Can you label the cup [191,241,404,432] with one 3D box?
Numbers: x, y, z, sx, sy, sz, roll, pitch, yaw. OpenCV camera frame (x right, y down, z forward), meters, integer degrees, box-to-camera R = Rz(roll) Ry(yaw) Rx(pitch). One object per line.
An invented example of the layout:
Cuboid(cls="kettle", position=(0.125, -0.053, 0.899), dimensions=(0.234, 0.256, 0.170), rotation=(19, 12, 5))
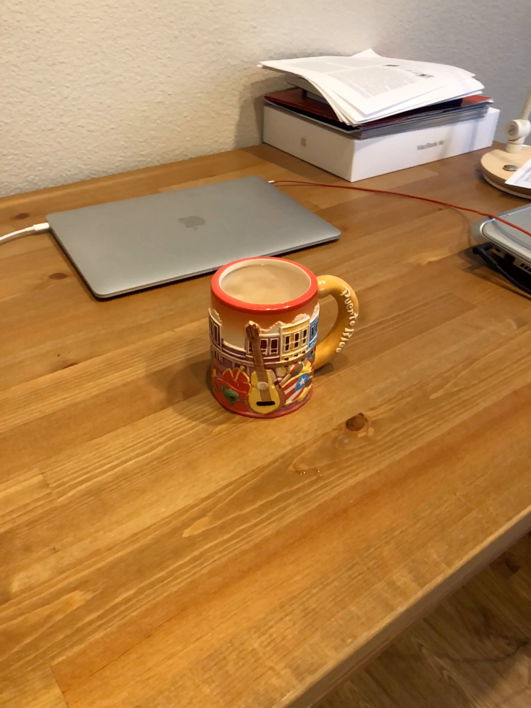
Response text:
Cuboid(cls="cup", position=(0.020, -0.018, 0.454), dimensions=(0.130, 0.090, 0.090), rotation=(-12, 38, -17))
